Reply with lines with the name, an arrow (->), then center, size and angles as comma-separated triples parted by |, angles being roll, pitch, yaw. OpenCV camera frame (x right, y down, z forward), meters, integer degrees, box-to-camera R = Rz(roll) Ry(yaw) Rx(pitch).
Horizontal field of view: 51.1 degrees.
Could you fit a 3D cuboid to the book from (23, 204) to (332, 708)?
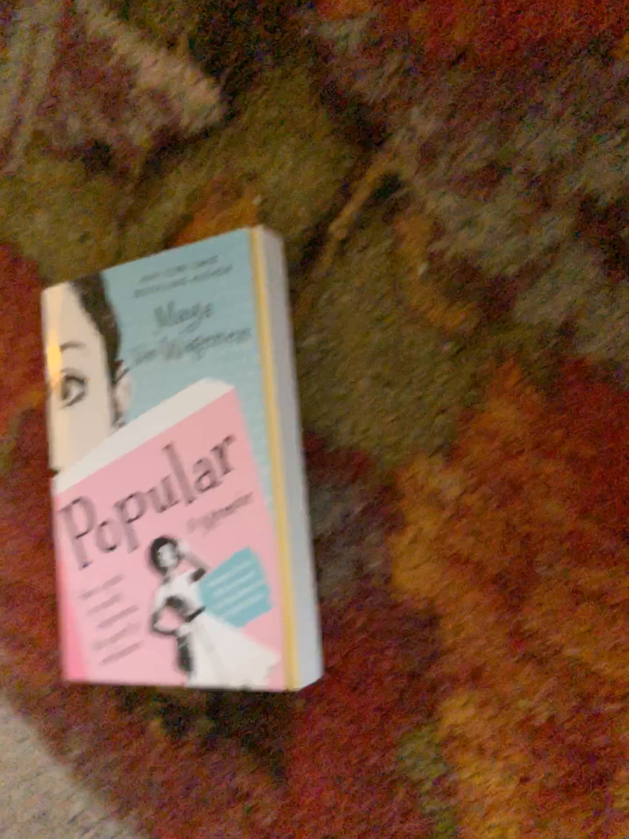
book -> -0.076, 0.022, 0.331 | 0.151, 0.030, 0.220 | -9, 82, 25
